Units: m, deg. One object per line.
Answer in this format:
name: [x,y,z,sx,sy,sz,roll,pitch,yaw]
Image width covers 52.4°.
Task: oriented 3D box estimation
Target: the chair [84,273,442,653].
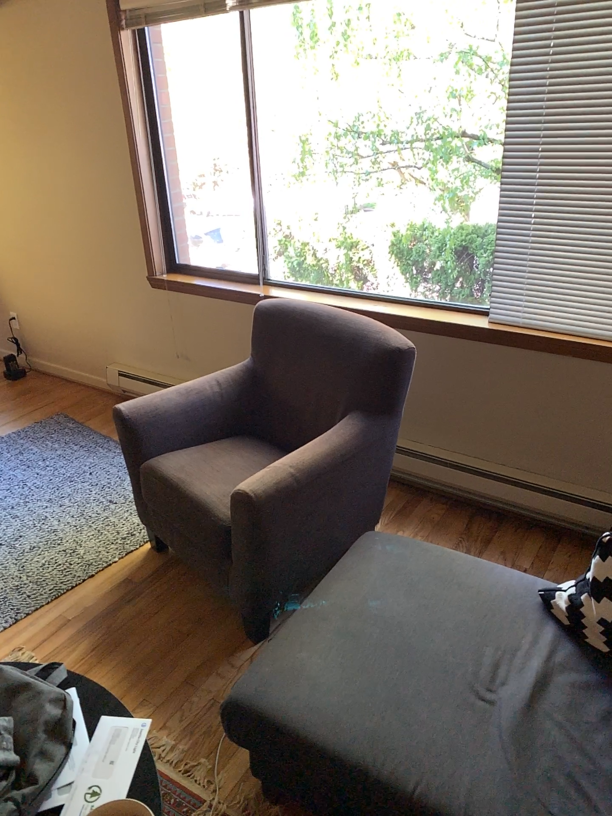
chair: [-0.154,0.084,2.222,0.801,0.875,0.884,-21,31,-38]
